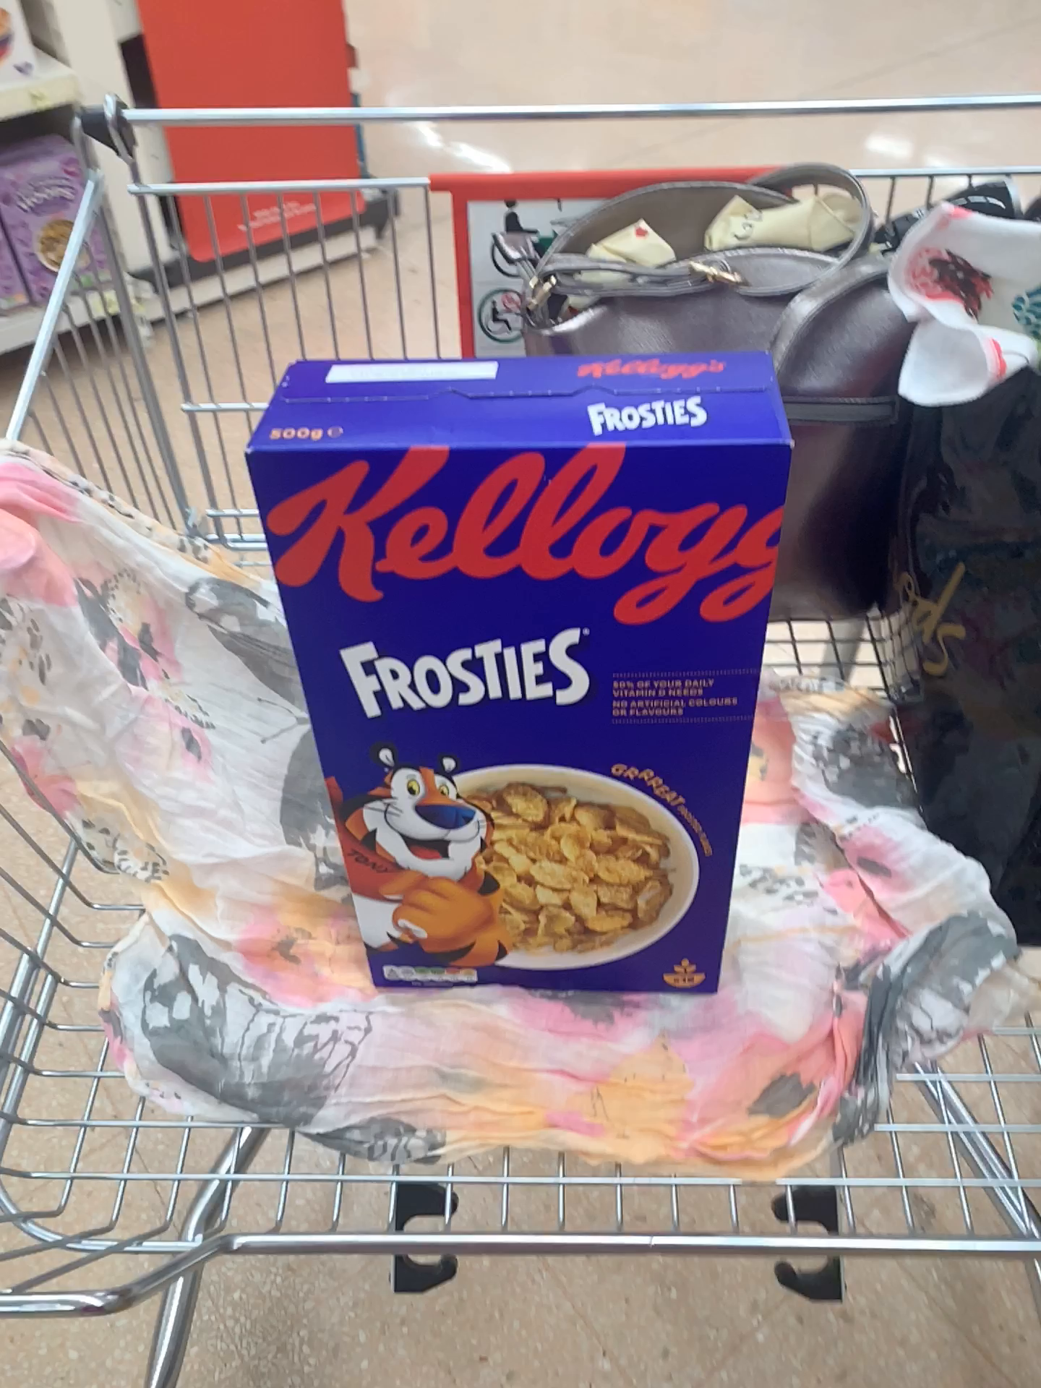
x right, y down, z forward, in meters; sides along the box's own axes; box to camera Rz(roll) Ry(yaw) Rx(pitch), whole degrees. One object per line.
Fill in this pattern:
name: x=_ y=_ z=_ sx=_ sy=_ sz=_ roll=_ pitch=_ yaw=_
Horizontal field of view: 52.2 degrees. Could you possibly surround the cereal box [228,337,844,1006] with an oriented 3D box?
cereal box: x=0.008 y=0.013 z=0.501 sx=0.210 sy=0.337 sz=0.081 roll=1 pitch=40 yaw=2
